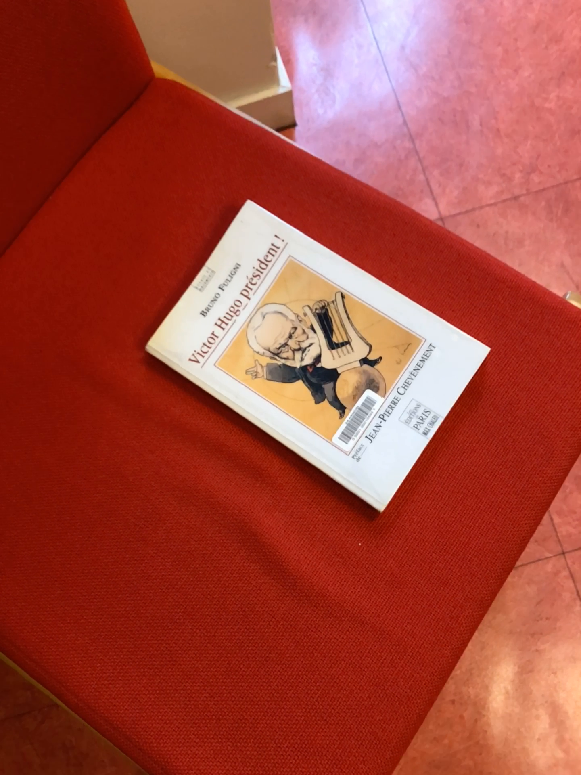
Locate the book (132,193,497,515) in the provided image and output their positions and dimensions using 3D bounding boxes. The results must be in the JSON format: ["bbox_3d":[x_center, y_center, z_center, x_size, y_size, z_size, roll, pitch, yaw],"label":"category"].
[{"bbox_3d":[0.018,-0.029,0.513,0.236,0.040,0.151,33,82,9],"label":"book"}]
